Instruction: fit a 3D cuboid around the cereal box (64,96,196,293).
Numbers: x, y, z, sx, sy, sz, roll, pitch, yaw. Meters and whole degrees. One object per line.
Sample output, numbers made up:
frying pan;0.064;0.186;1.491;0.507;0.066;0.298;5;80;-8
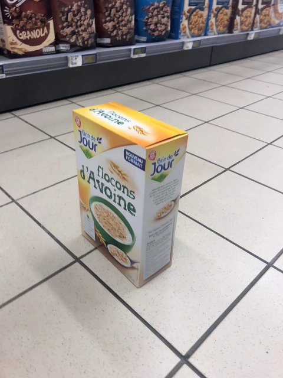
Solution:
cereal box;-0.022;0.002;0.422;0.070;0.209;0.160;-24;39;-36
